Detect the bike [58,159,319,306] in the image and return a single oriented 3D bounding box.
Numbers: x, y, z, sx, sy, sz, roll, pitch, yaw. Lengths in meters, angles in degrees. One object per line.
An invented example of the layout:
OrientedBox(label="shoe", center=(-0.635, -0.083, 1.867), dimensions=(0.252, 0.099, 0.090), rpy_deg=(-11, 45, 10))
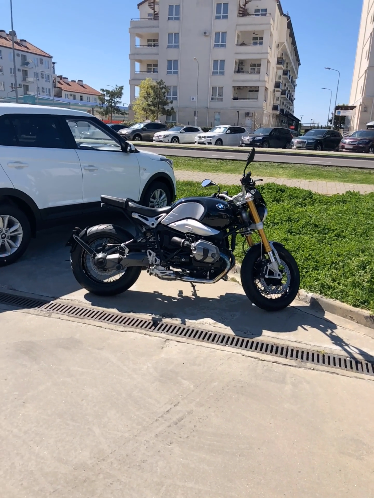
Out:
OrientedBox(label="bike", center=(0.014, -0.182, 3.378), dimensions=(1.832, 1.013, 0.779), rpy_deg=(2, 15, 1))
